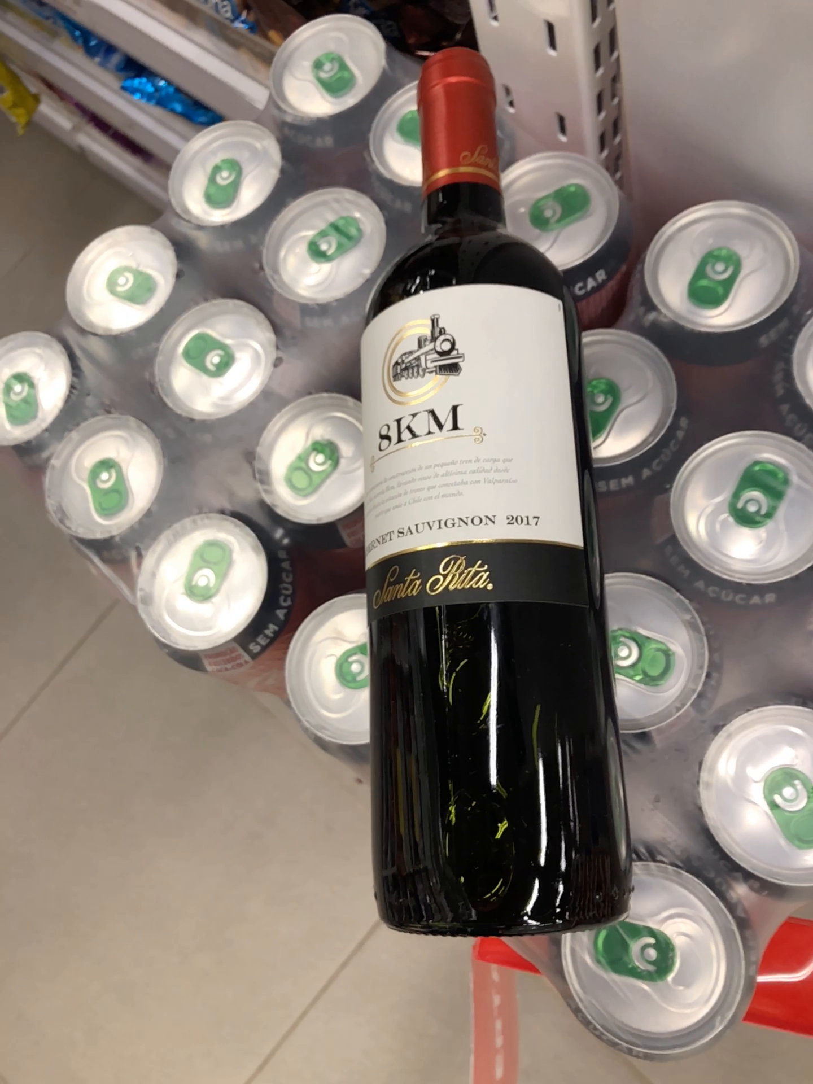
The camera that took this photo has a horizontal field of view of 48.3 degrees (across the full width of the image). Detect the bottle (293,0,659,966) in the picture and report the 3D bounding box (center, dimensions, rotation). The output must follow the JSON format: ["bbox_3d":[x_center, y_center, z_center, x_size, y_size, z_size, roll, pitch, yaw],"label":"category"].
[{"bbox_3d":[0.017,-0.048,0.286,0.080,0.070,0.320,-7,72,13],"label":"bottle"}]
